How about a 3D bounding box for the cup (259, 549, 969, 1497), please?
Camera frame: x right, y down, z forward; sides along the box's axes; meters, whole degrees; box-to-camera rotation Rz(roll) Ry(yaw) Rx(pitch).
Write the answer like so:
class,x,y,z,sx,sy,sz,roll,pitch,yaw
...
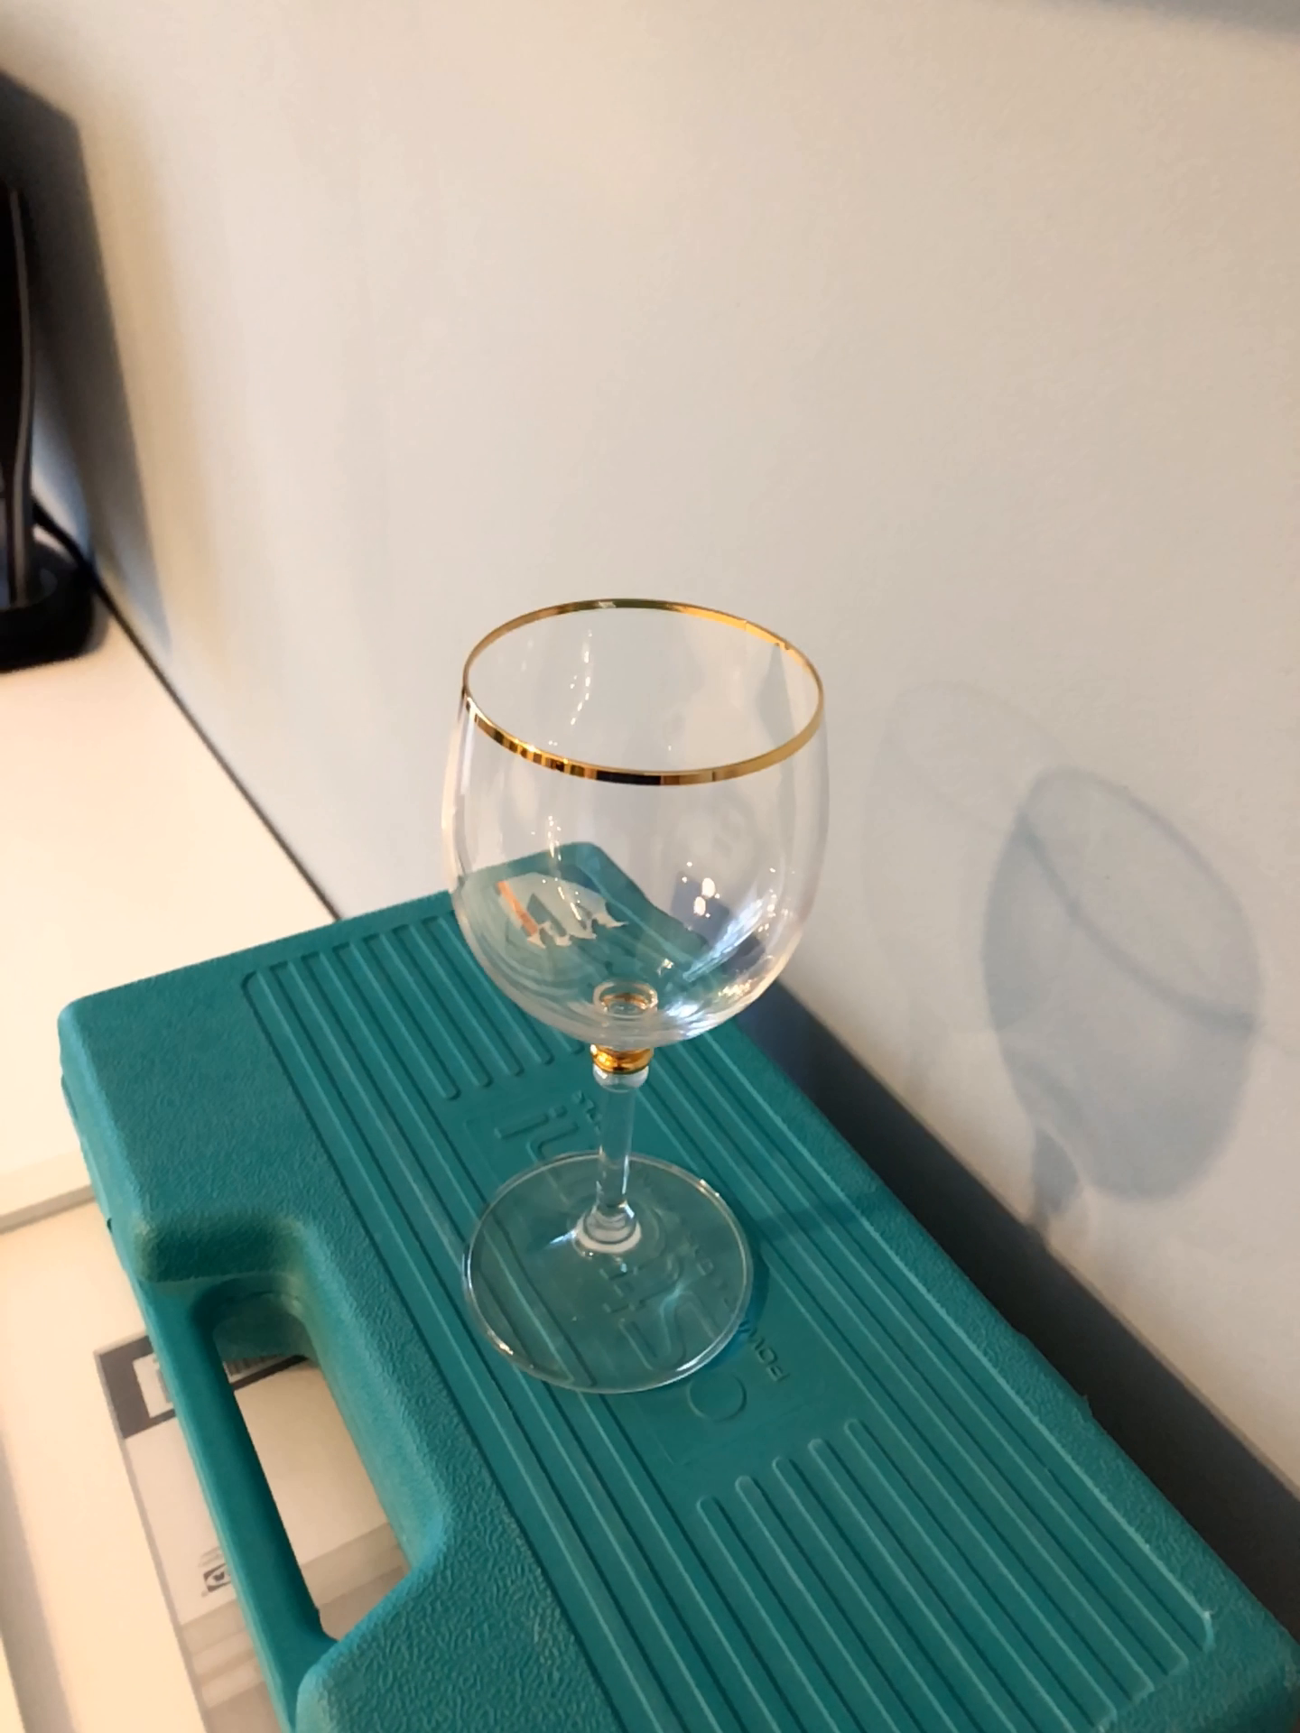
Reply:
class,x,y,z,sx,sy,sz,roll,pitch,yaw
cup,-0.014,0.031,0.317,0.100,0.159,0.101,2,36,-1
